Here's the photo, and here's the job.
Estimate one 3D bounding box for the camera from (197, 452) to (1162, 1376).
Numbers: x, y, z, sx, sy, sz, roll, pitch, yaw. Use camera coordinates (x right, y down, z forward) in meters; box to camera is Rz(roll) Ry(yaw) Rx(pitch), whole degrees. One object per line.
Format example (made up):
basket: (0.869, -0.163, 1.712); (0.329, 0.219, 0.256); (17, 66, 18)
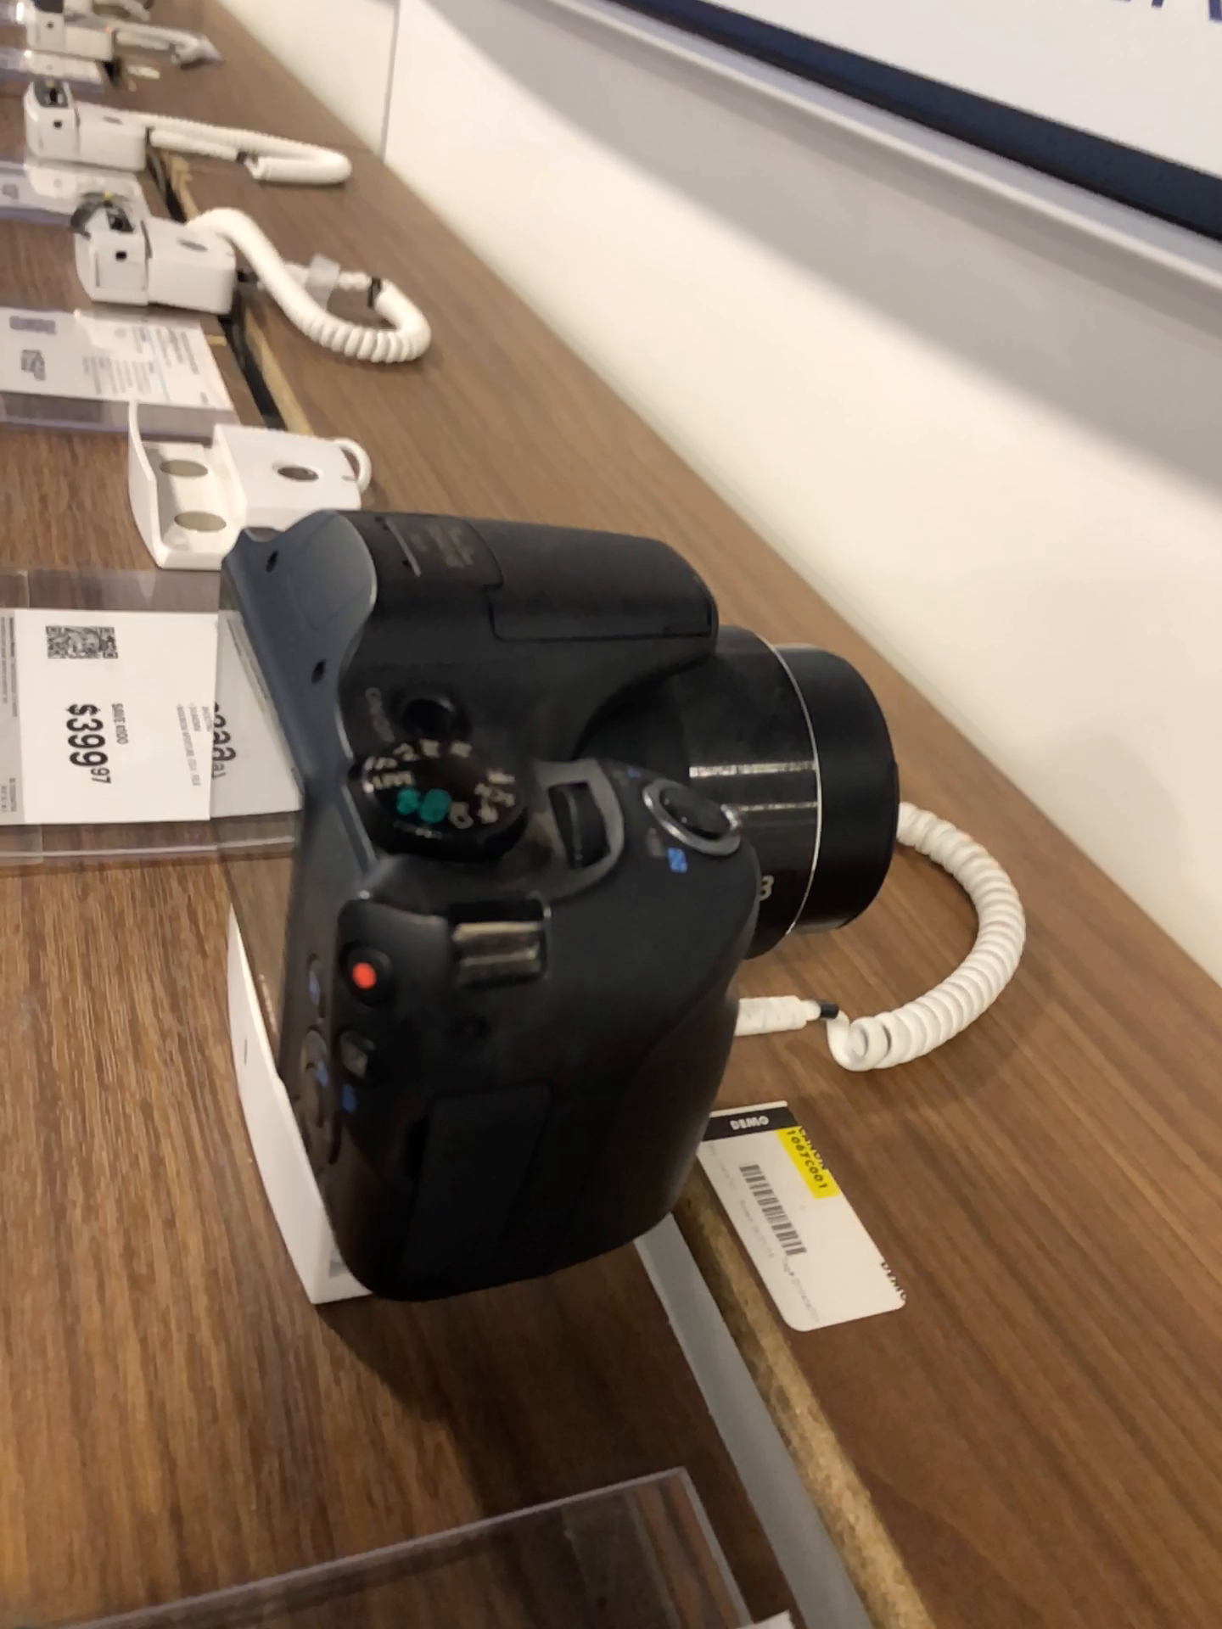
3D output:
camera: (-0.003, 0.004, 0.225); (0.101, 0.079, 0.121); (-4, 37, -27)
